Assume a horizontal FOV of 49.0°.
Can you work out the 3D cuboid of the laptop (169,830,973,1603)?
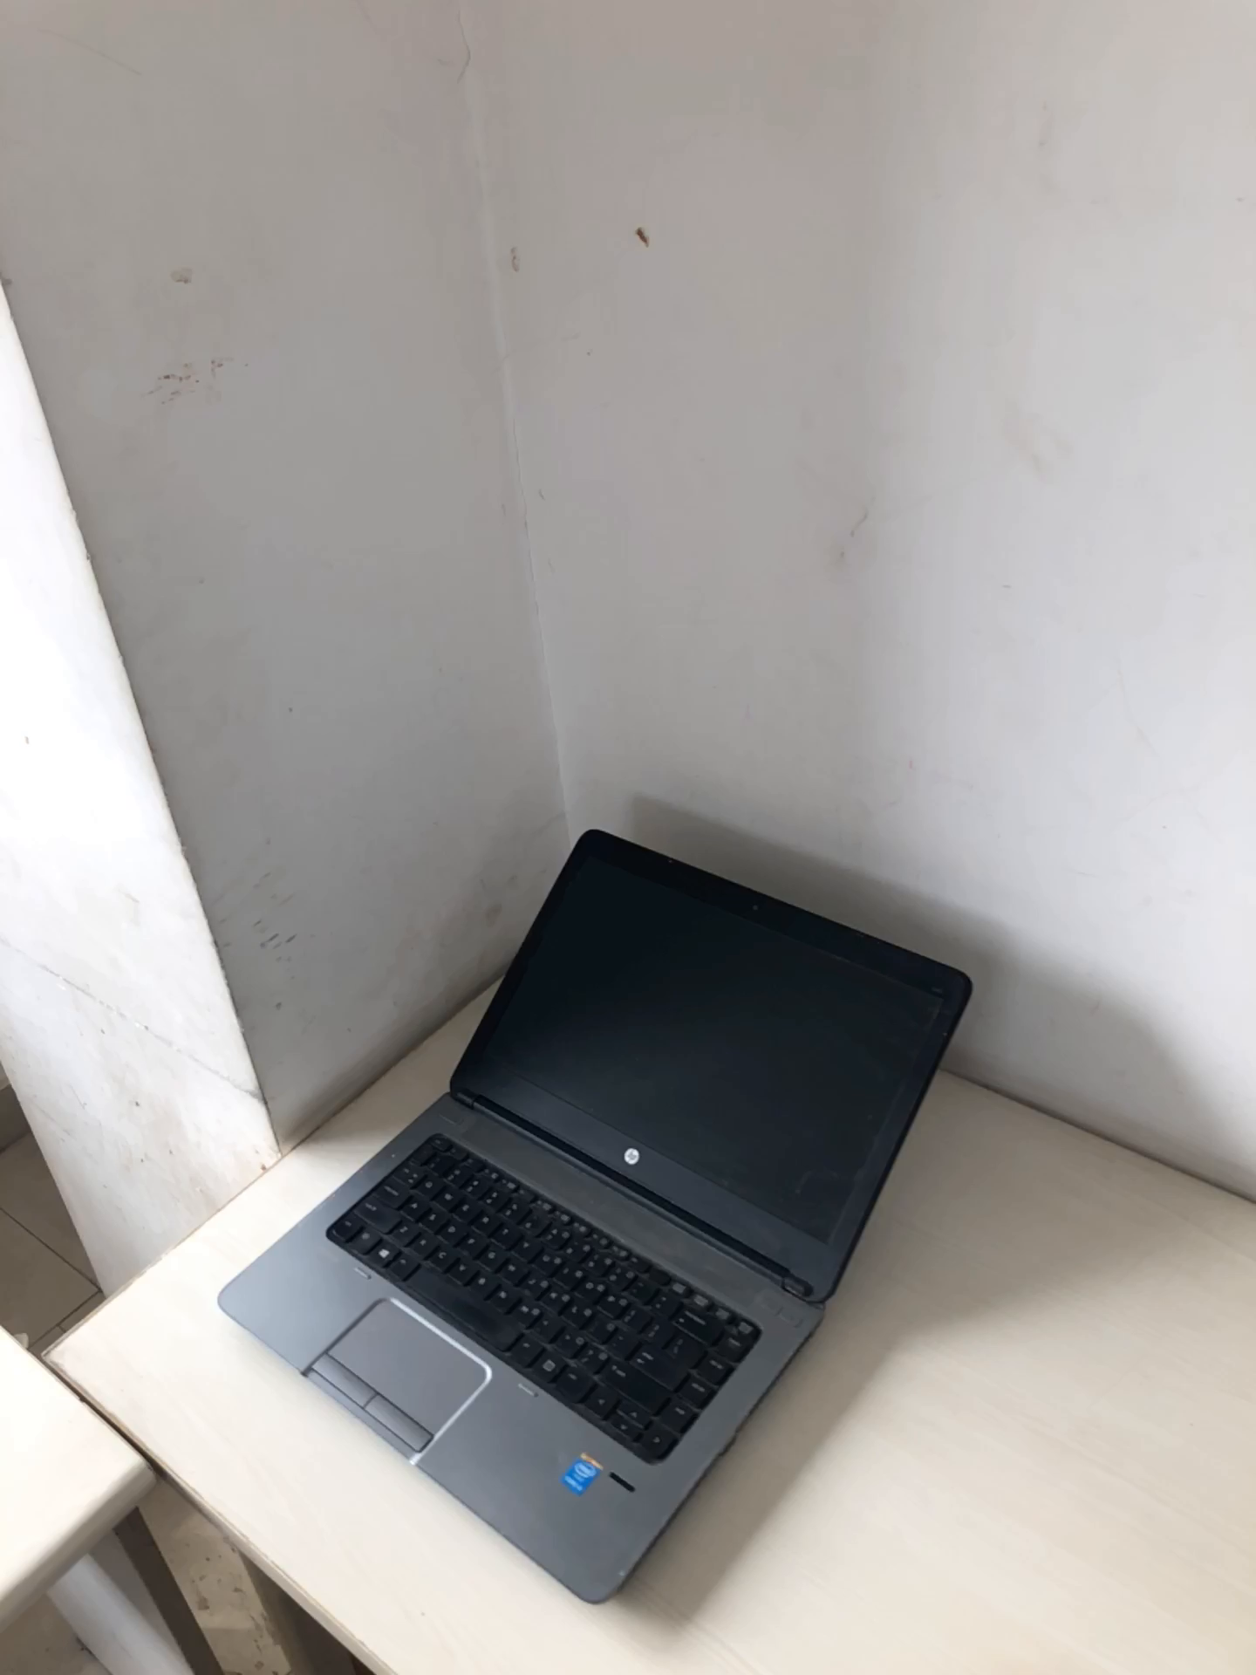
[{"bbox_3d":[-0.020,0.204,0.917,0.328,0.137,0.407,22,43,32],"label":"laptop"}]
